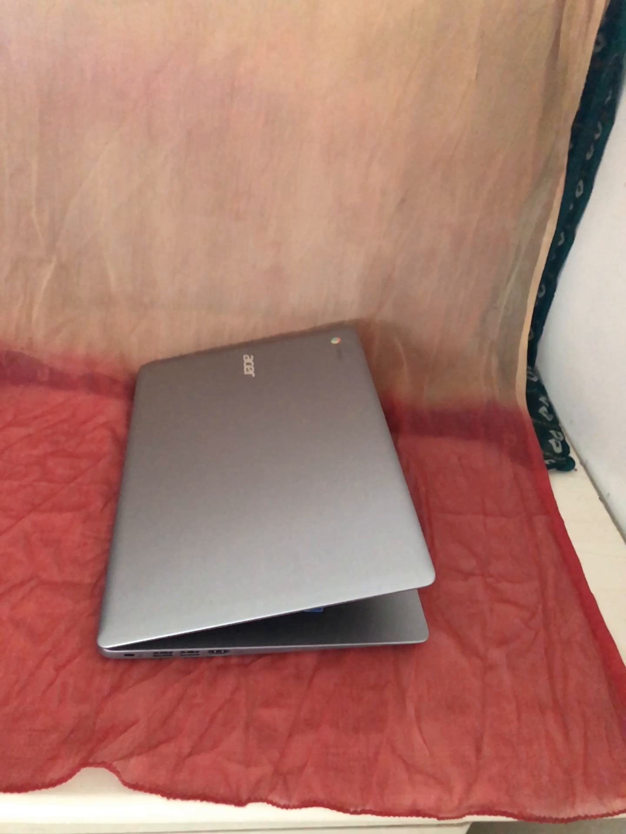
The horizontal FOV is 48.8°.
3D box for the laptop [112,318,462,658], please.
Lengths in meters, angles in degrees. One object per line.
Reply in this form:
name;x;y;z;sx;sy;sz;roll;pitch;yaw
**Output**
laptop;-0.034;0.032;0.574;0.219;0.065;0.324;1;38;-8
